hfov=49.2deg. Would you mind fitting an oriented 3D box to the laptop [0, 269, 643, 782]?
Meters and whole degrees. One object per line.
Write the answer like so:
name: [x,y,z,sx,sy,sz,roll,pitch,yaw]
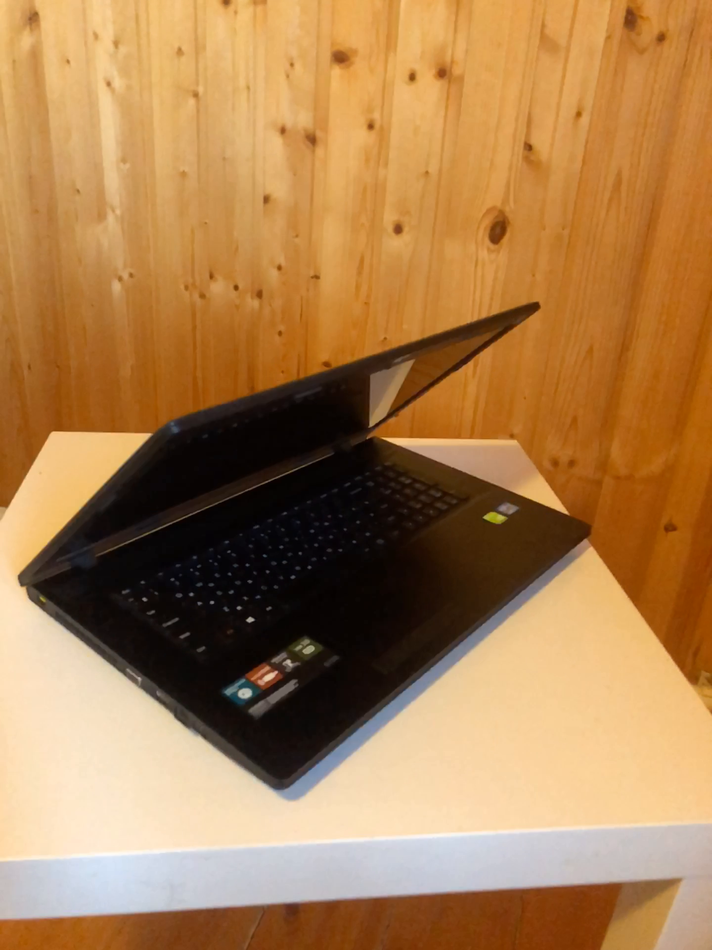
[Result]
laptop: [-0.004,-0.019,0.616,0.272,0.184,0.411,24,32,34]
